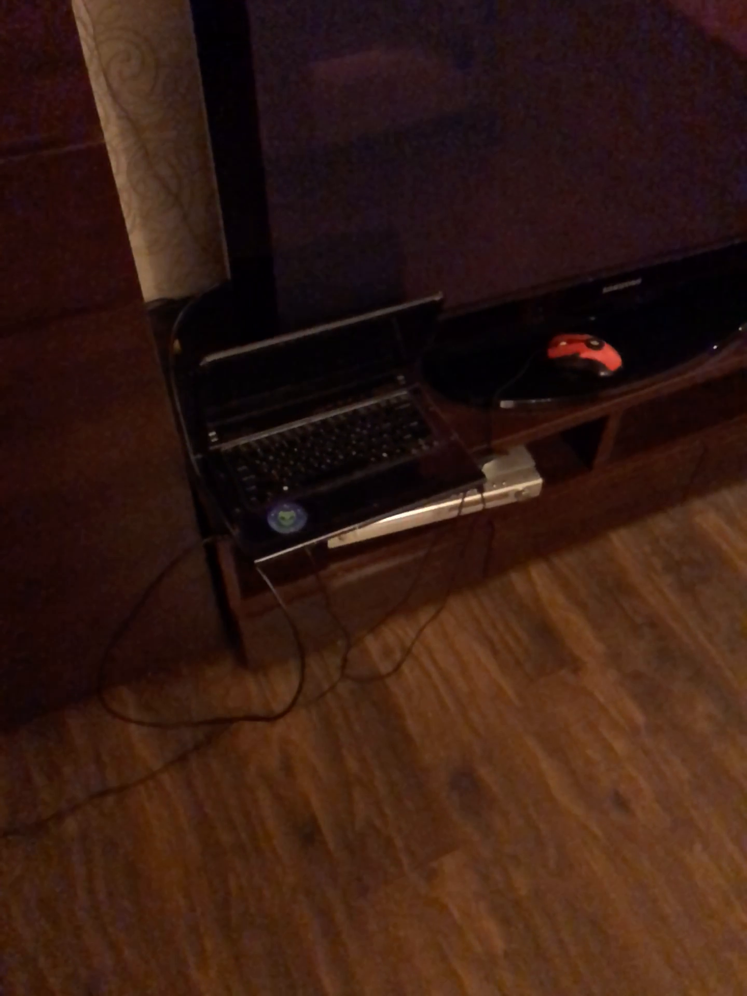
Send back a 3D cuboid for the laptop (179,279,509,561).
[{"bbox_3d":[-0.037,-0.105,1.042,0.336,0.183,0.200,-20,53,-18],"label":"laptop"}]
